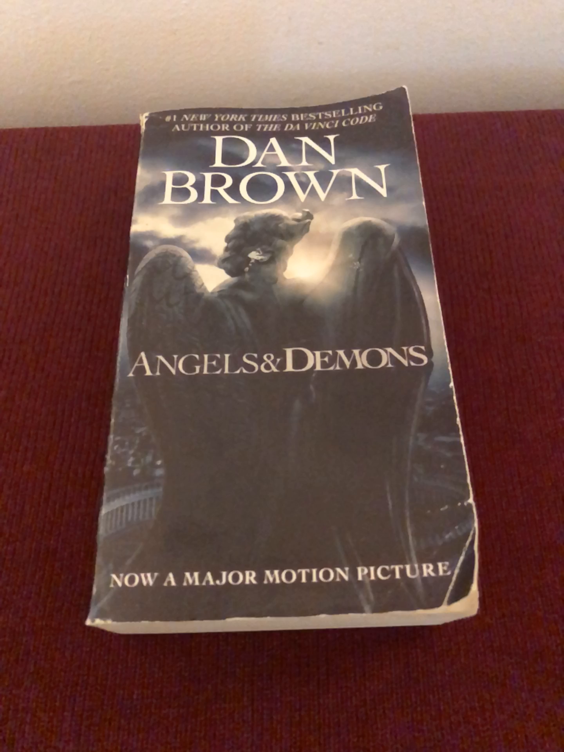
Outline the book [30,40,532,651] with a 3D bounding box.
[{"bbox_3d":[-0.003,-0.024,0.215,0.120,0.040,0.211,-4,63,4],"label":"book"}]
